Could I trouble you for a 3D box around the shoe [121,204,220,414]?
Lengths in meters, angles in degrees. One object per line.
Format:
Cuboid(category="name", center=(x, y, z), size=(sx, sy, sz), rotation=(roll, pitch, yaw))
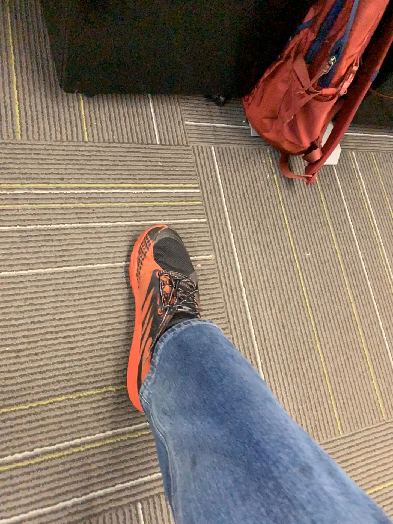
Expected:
Cuboid(category="shoe", center=(-0.042, 0.075, 0.658), size=(0.130, 0.077, 0.318), rotation=(7, 70, -21))
